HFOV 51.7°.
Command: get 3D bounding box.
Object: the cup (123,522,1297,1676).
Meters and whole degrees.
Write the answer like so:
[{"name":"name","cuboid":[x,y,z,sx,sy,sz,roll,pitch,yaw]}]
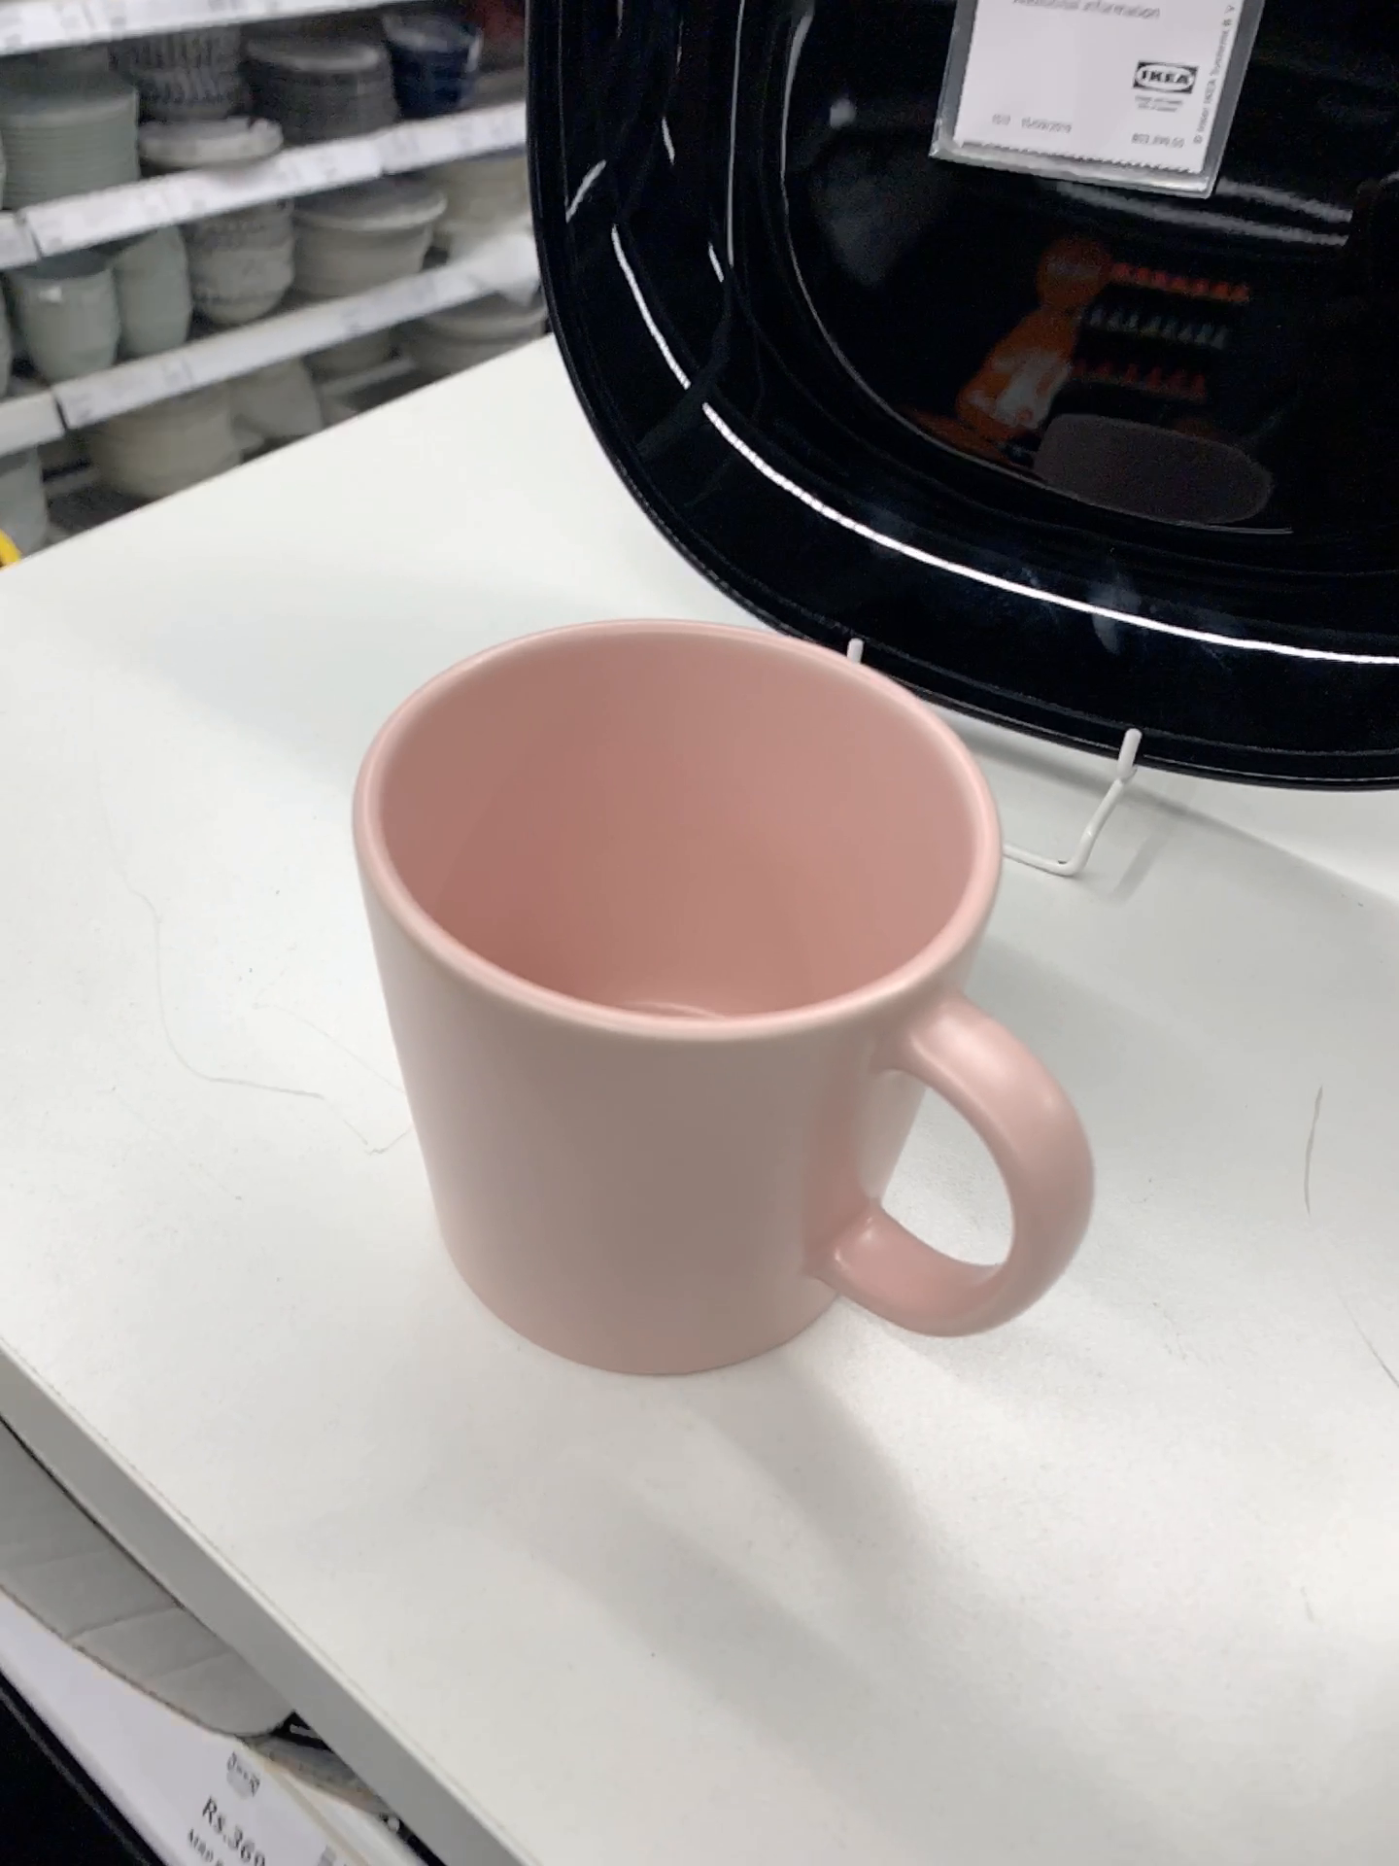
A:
[{"name":"cup","cuboid":[-0.003,0.013,0.209,0.120,0.080,0.090,36,50,28]}]
